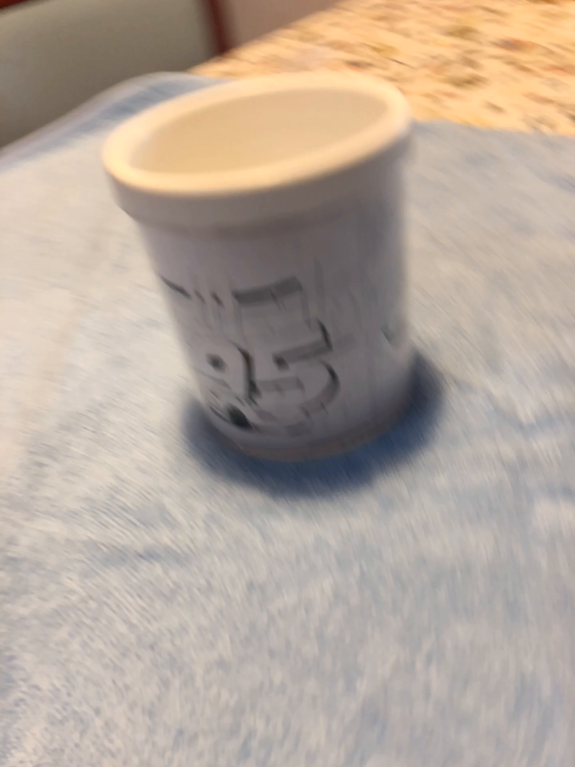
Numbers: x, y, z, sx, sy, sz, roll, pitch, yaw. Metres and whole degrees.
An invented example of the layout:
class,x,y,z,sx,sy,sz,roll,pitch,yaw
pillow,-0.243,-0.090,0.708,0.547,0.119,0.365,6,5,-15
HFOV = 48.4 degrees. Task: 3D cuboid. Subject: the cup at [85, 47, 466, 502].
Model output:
class,x,y,z,sx,sy,sz,roll,pitch,yaw
cup,0.002,-0.043,0.227,0.090,0.099,0.121,-9,39,5
